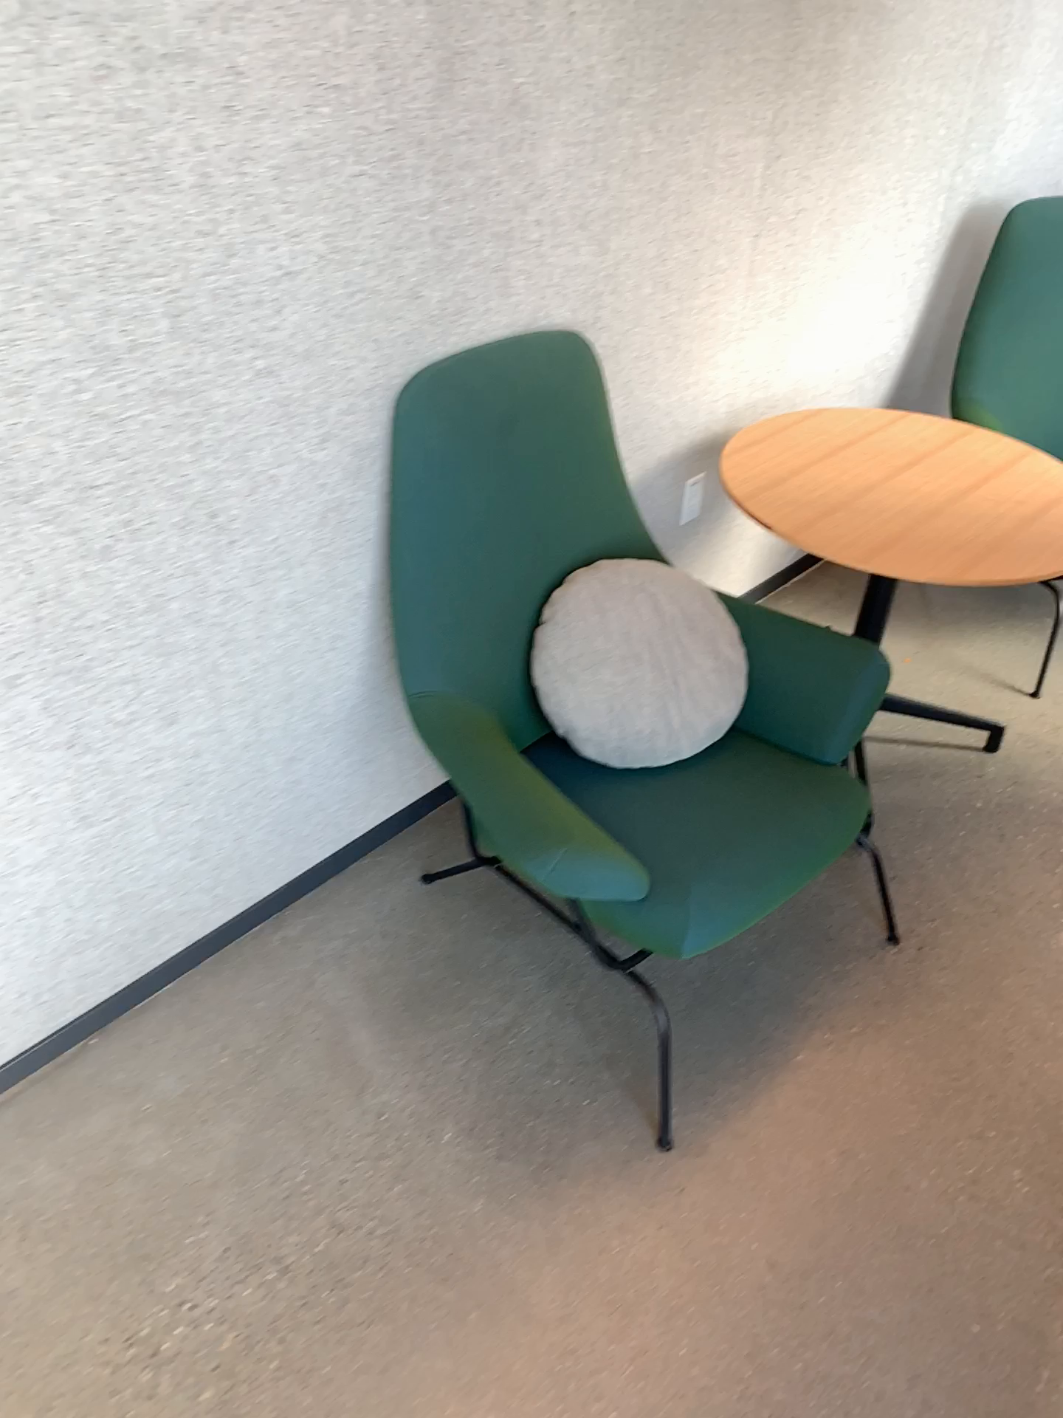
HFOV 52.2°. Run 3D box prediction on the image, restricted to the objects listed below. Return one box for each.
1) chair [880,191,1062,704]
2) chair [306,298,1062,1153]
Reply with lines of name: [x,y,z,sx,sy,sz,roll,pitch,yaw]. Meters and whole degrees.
chair: [1.474,-0.679,2.755,0.650,1.014,0.755,-7,37,-12]
chair: [0.201,-0.031,1.865,0.722,0.994,0.843,-28,45,-33]
